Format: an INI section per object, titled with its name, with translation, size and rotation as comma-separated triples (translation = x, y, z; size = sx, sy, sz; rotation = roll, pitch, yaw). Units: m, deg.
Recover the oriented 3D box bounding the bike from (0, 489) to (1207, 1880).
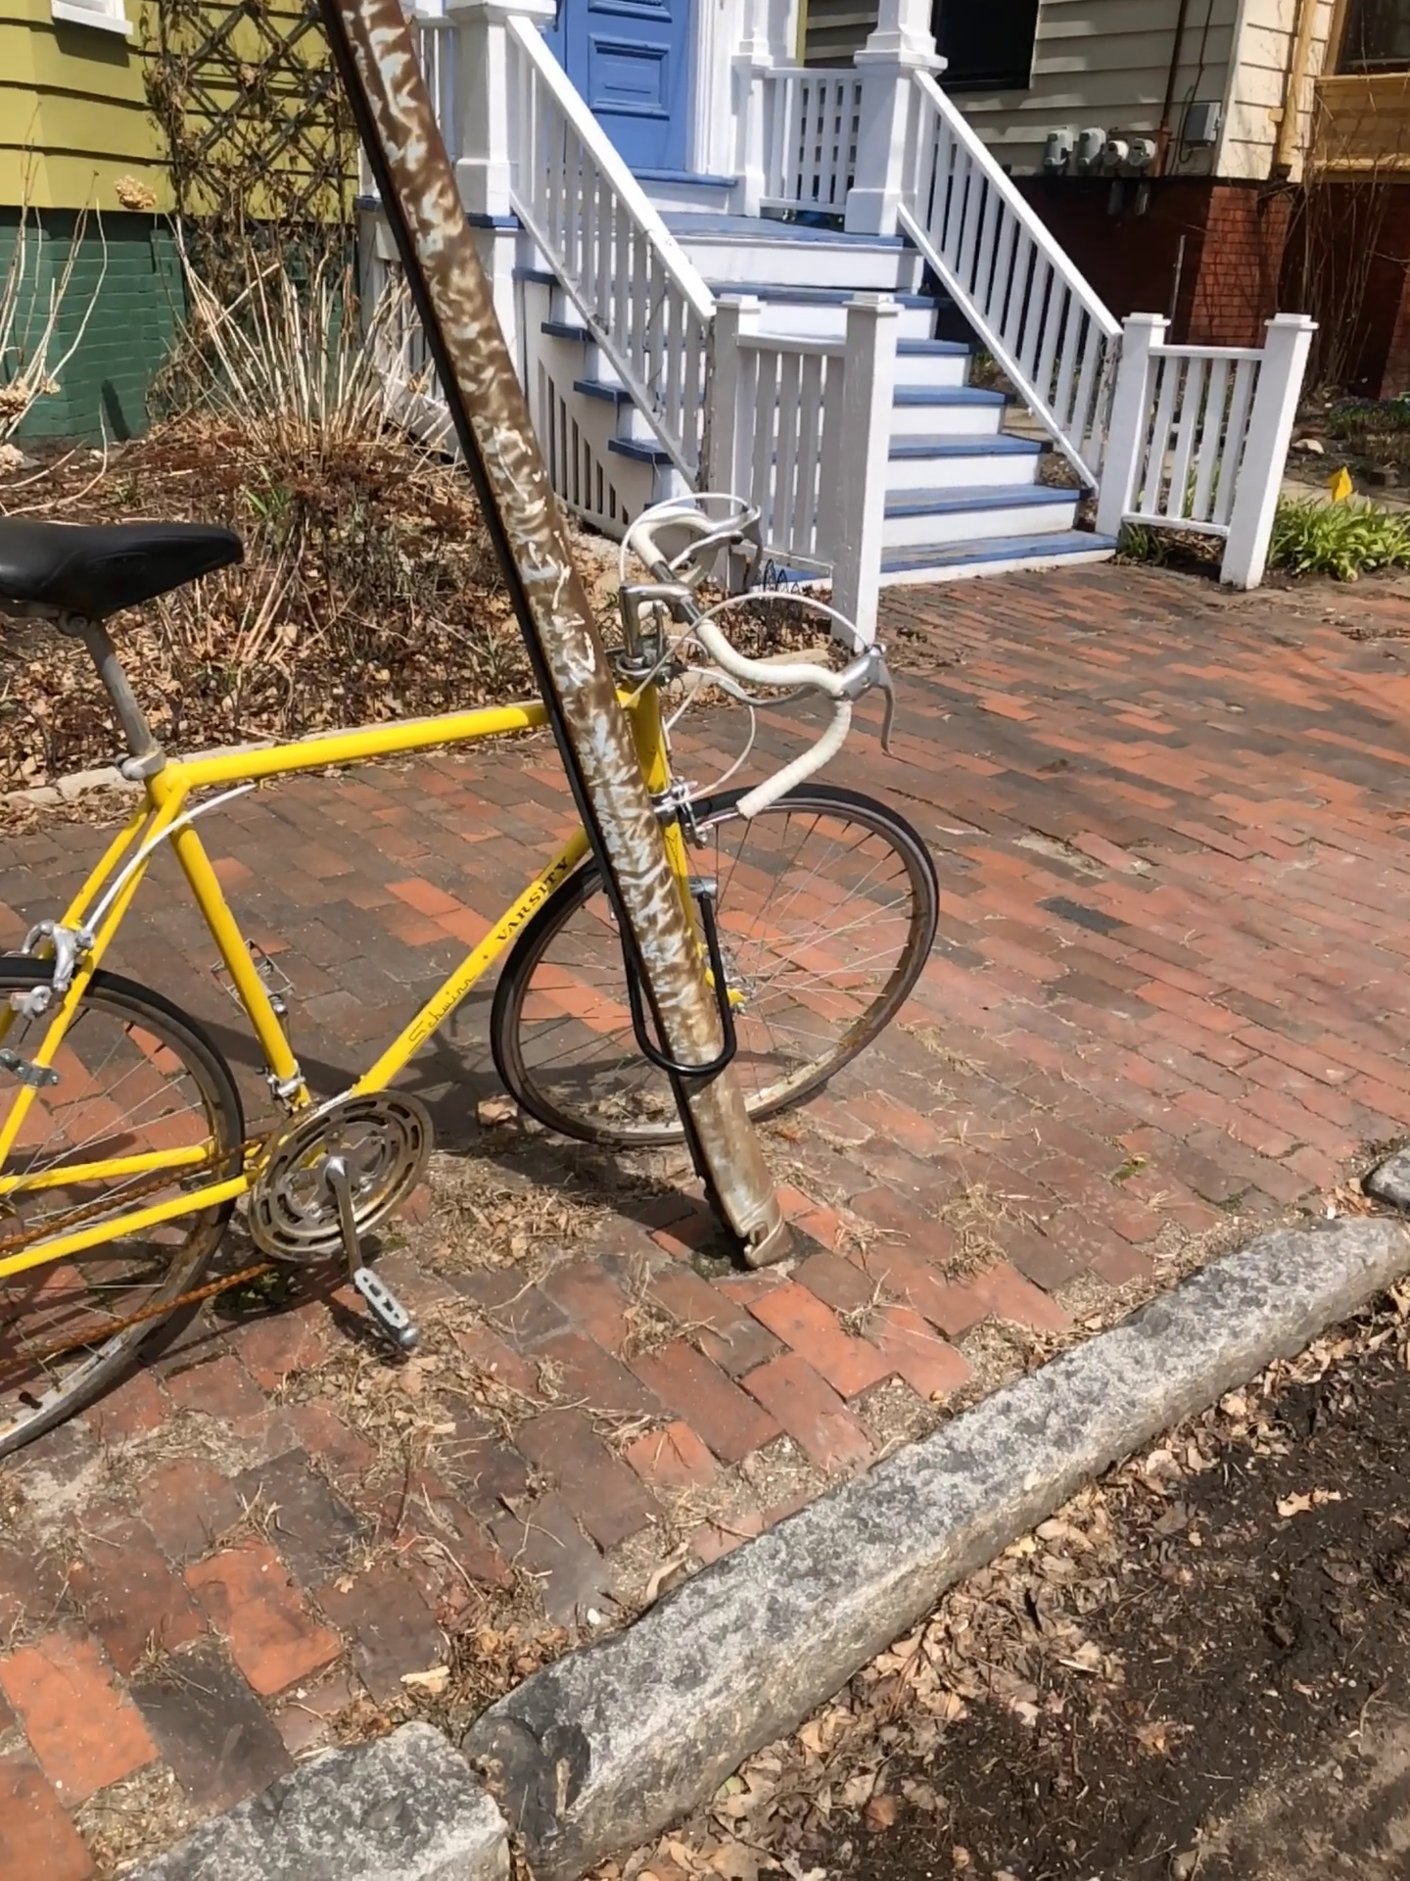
[bike]
translation = -0.279, 0.096, 1.698
size = 1.708, 0.855, 0.525
rotation = -19, 32, -32
